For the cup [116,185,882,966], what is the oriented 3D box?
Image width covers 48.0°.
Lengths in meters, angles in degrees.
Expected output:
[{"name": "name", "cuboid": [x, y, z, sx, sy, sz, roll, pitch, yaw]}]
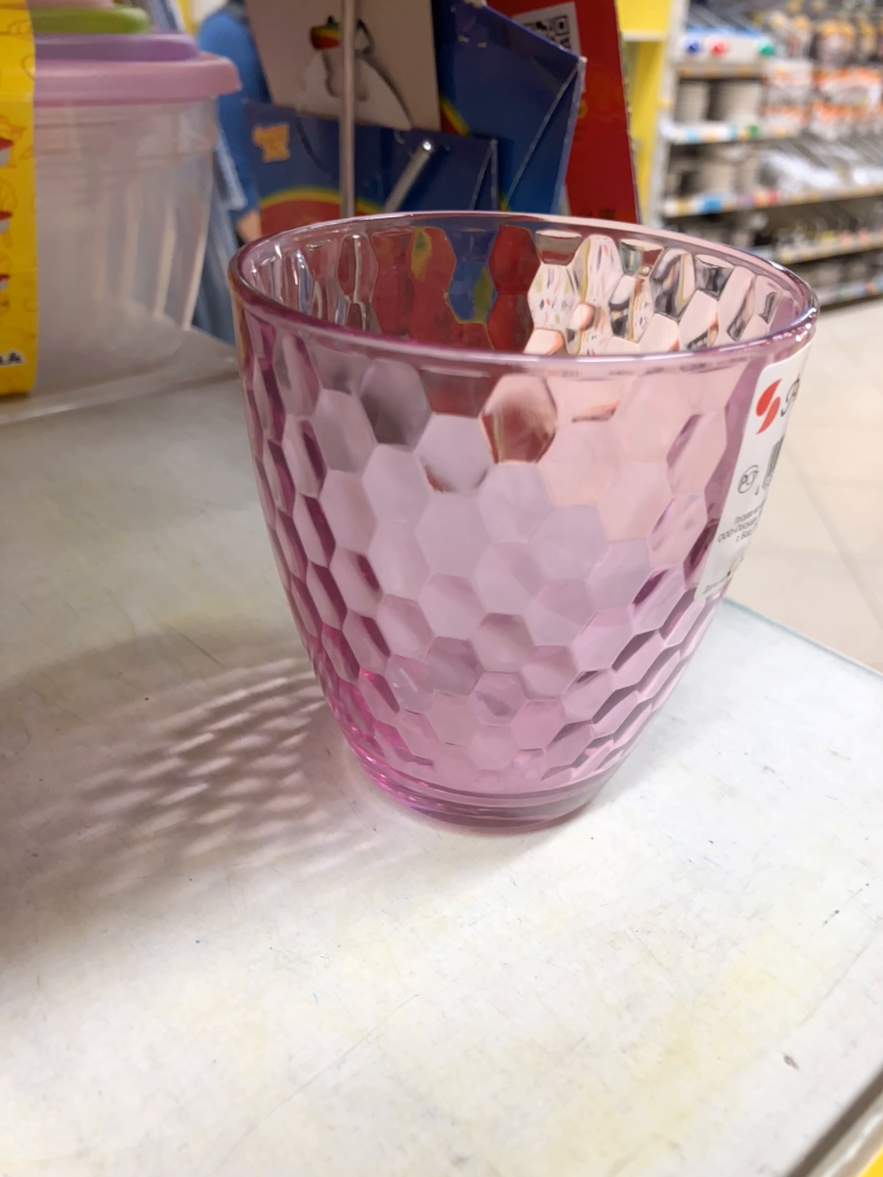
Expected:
[{"name": "cup", "cuboid": [0.014, -0.014, 0.160, 0.078, 0.074, 0.090, 21, 35, 26]}]
